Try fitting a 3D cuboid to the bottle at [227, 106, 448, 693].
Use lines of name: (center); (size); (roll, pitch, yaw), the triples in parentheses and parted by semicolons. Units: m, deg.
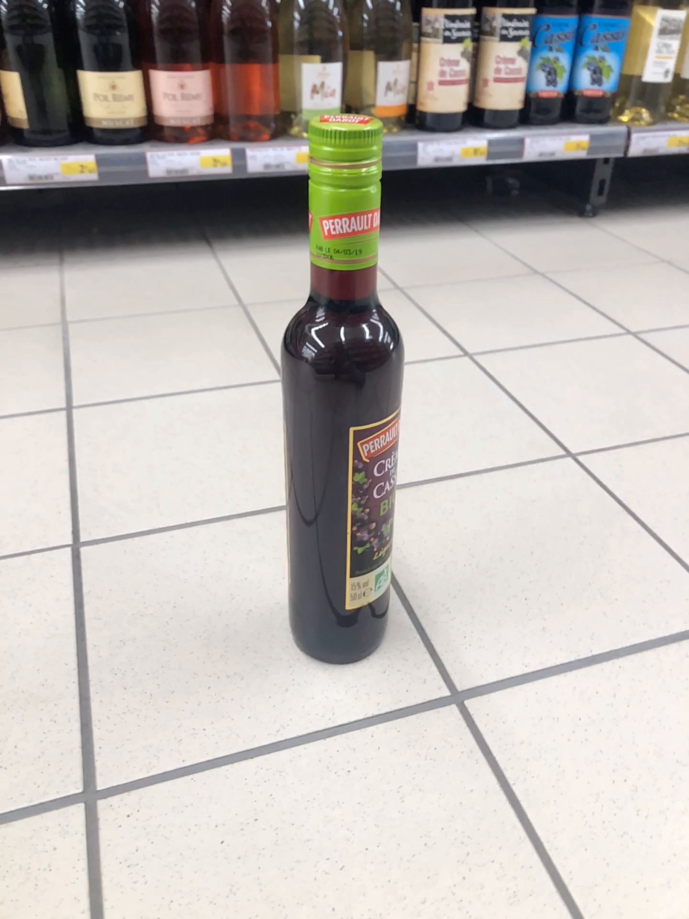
bottle: (-0.003, -0.016, 0.389); (0.070, 0.288, 0.070); (1, 32, -1)
